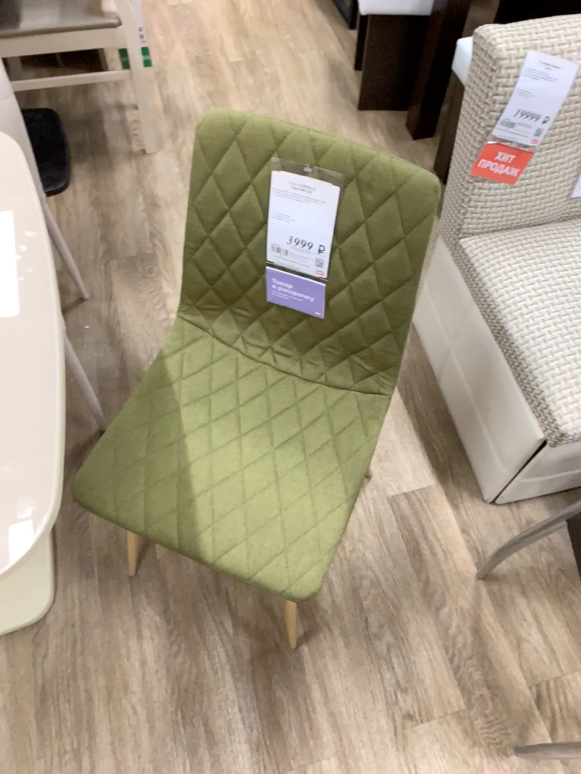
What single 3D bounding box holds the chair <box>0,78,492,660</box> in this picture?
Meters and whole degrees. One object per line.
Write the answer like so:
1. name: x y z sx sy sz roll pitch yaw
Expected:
1. chair: -0.072 0.052 1.080 0.500 0.837 0.562 20 60 11
